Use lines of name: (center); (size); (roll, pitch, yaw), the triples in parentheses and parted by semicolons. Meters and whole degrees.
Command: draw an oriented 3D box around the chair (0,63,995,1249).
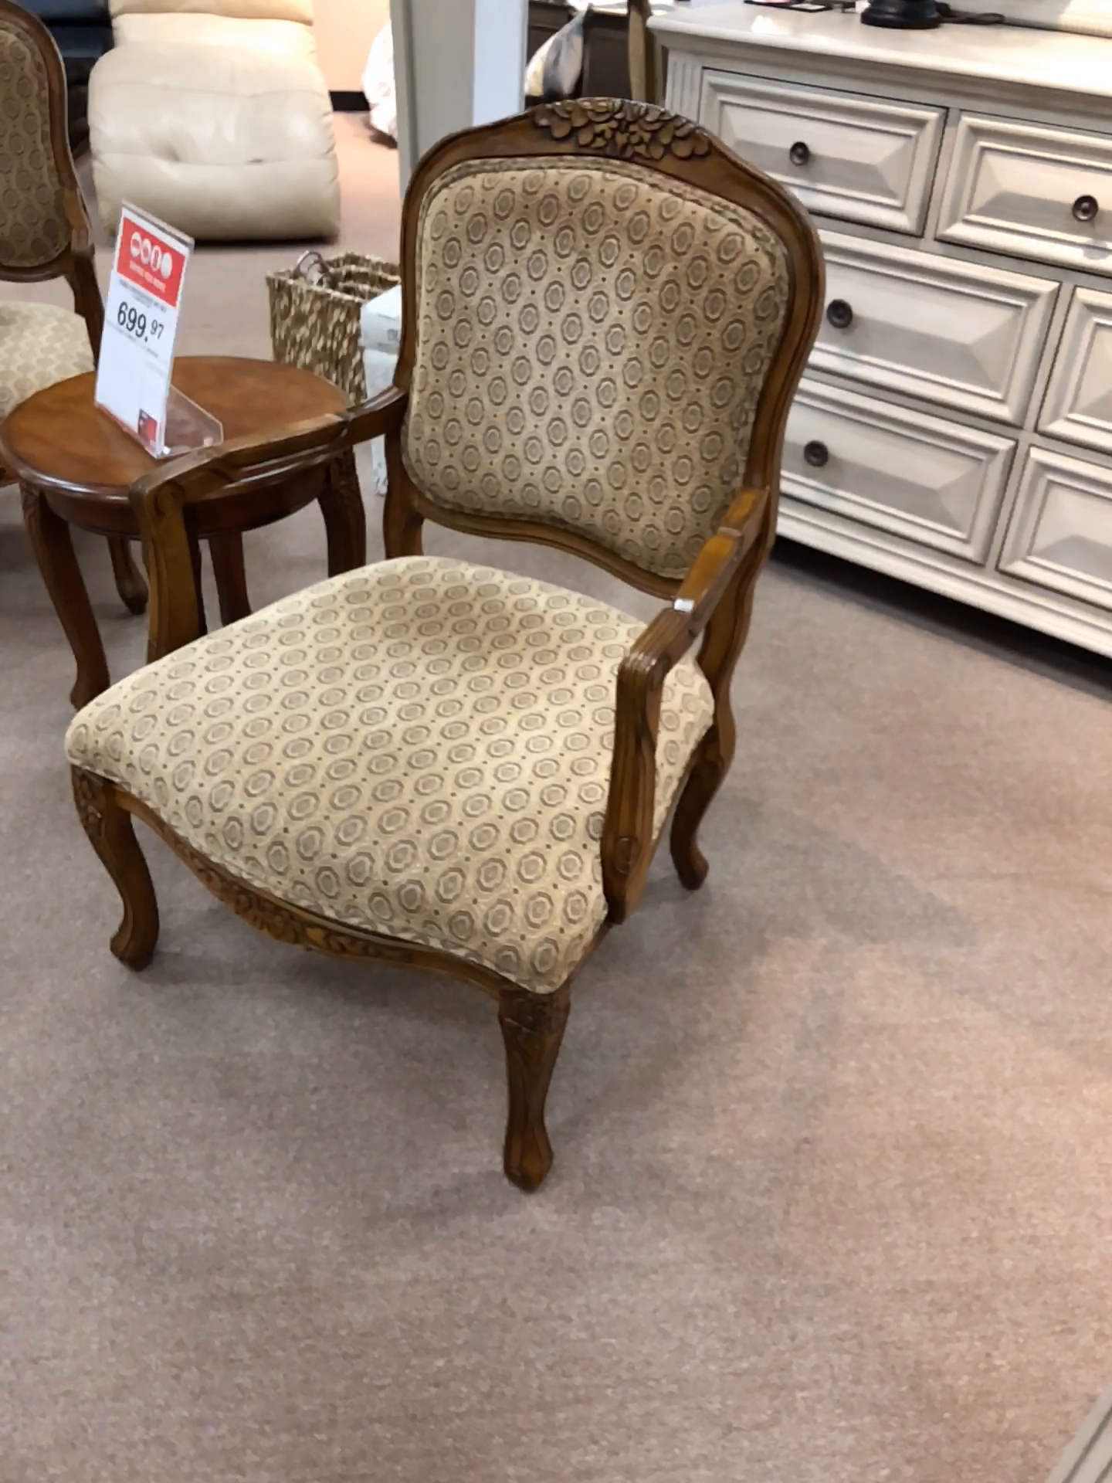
chair: (-0.078, -0.145, 1.498); (0.782, 1.062, 0.703); (22, 41, 24)
